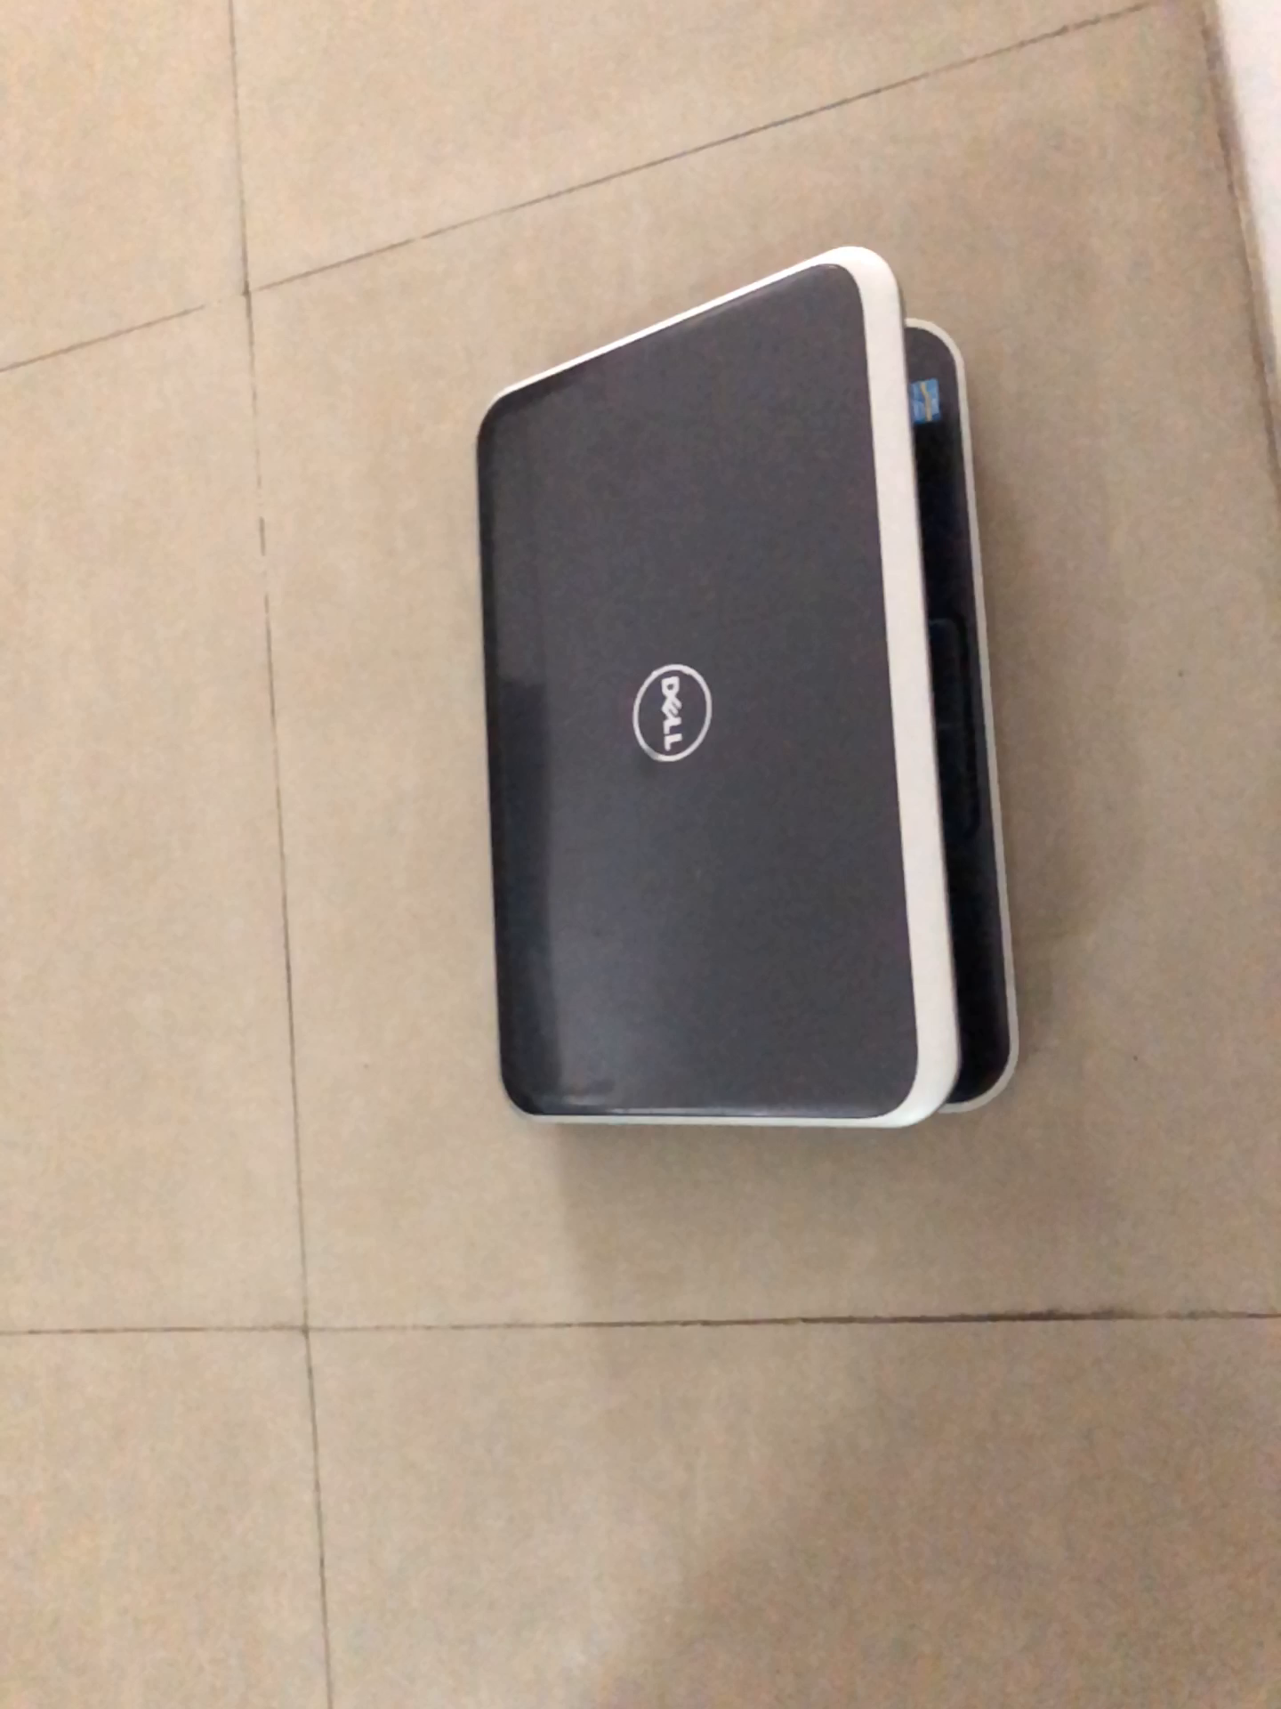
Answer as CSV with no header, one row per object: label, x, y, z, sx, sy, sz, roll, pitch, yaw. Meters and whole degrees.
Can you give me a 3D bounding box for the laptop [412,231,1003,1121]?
laptop,0.026,-0.064,0.644,0.234,0.080,0.360,-5,85,23
